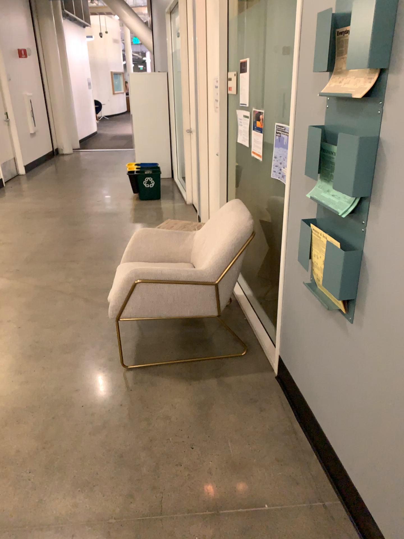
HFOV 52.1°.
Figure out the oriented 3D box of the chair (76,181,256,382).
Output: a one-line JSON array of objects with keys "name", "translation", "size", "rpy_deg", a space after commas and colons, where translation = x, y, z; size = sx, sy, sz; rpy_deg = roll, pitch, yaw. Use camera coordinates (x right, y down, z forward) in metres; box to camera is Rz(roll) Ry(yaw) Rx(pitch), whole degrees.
[{"name": "chair", "translation": [-0.207, 0.021, 2.545], "size": [0.870, 0.925, 0.784], "rpy_deg": [-4, 24, -6]}]
